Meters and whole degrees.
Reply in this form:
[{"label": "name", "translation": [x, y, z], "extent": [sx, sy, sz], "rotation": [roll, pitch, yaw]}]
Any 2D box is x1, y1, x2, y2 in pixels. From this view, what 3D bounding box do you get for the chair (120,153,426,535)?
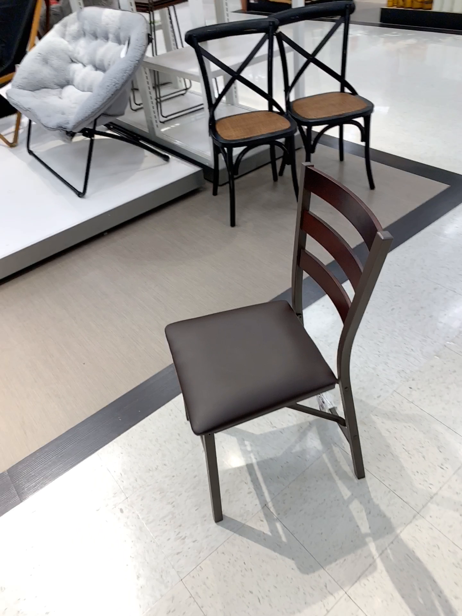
[{"label": "chair", "translation": [0.092, 0.122, 1.253], "extent": [0.520, 0.825, 0.442], "rotation": [-16, 41, -8]}]
